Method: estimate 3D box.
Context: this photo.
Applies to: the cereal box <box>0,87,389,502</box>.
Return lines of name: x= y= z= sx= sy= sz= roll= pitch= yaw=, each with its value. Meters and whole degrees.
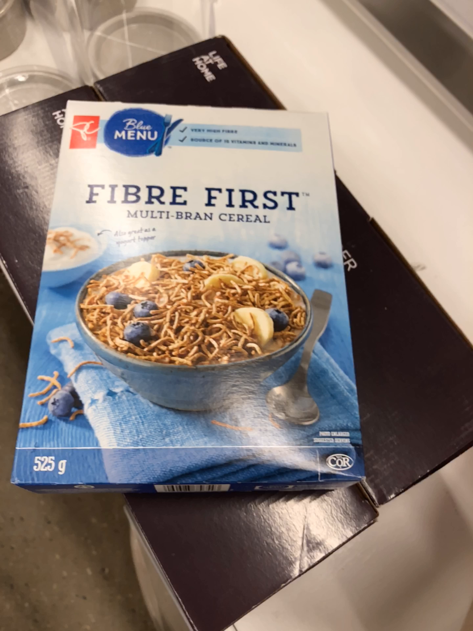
cereal box: x=-0.025 y=-0.020 z=0.343 sx=0.200 sy=0.060 sz=0.260 roll=1 pitch=68 yaw=-5
